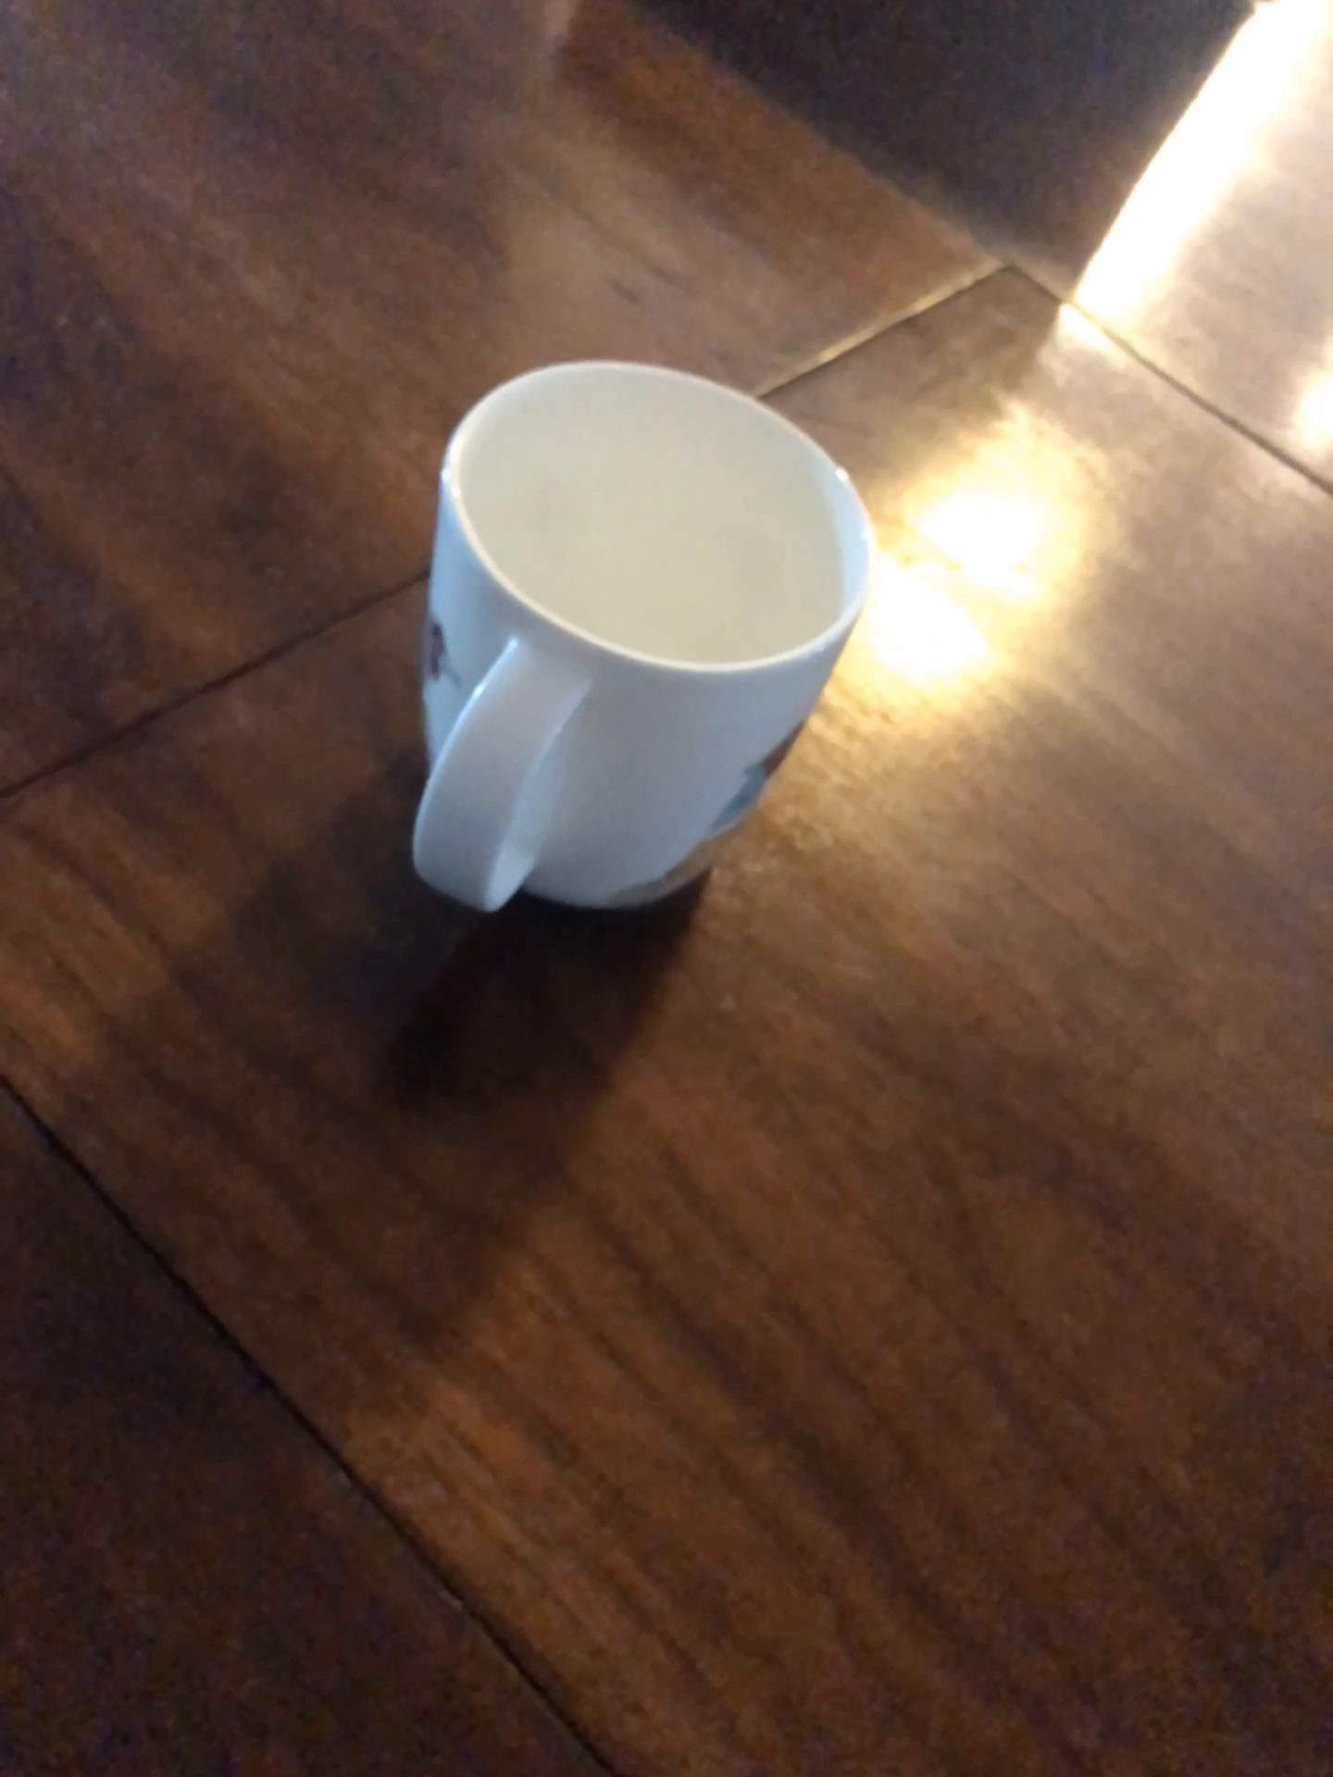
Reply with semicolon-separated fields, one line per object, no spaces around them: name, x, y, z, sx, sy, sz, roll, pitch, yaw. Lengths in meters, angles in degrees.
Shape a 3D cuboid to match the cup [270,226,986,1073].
cup;-0.008;-0.052;0.317;0.090;0.090;0.130;27;52;3
